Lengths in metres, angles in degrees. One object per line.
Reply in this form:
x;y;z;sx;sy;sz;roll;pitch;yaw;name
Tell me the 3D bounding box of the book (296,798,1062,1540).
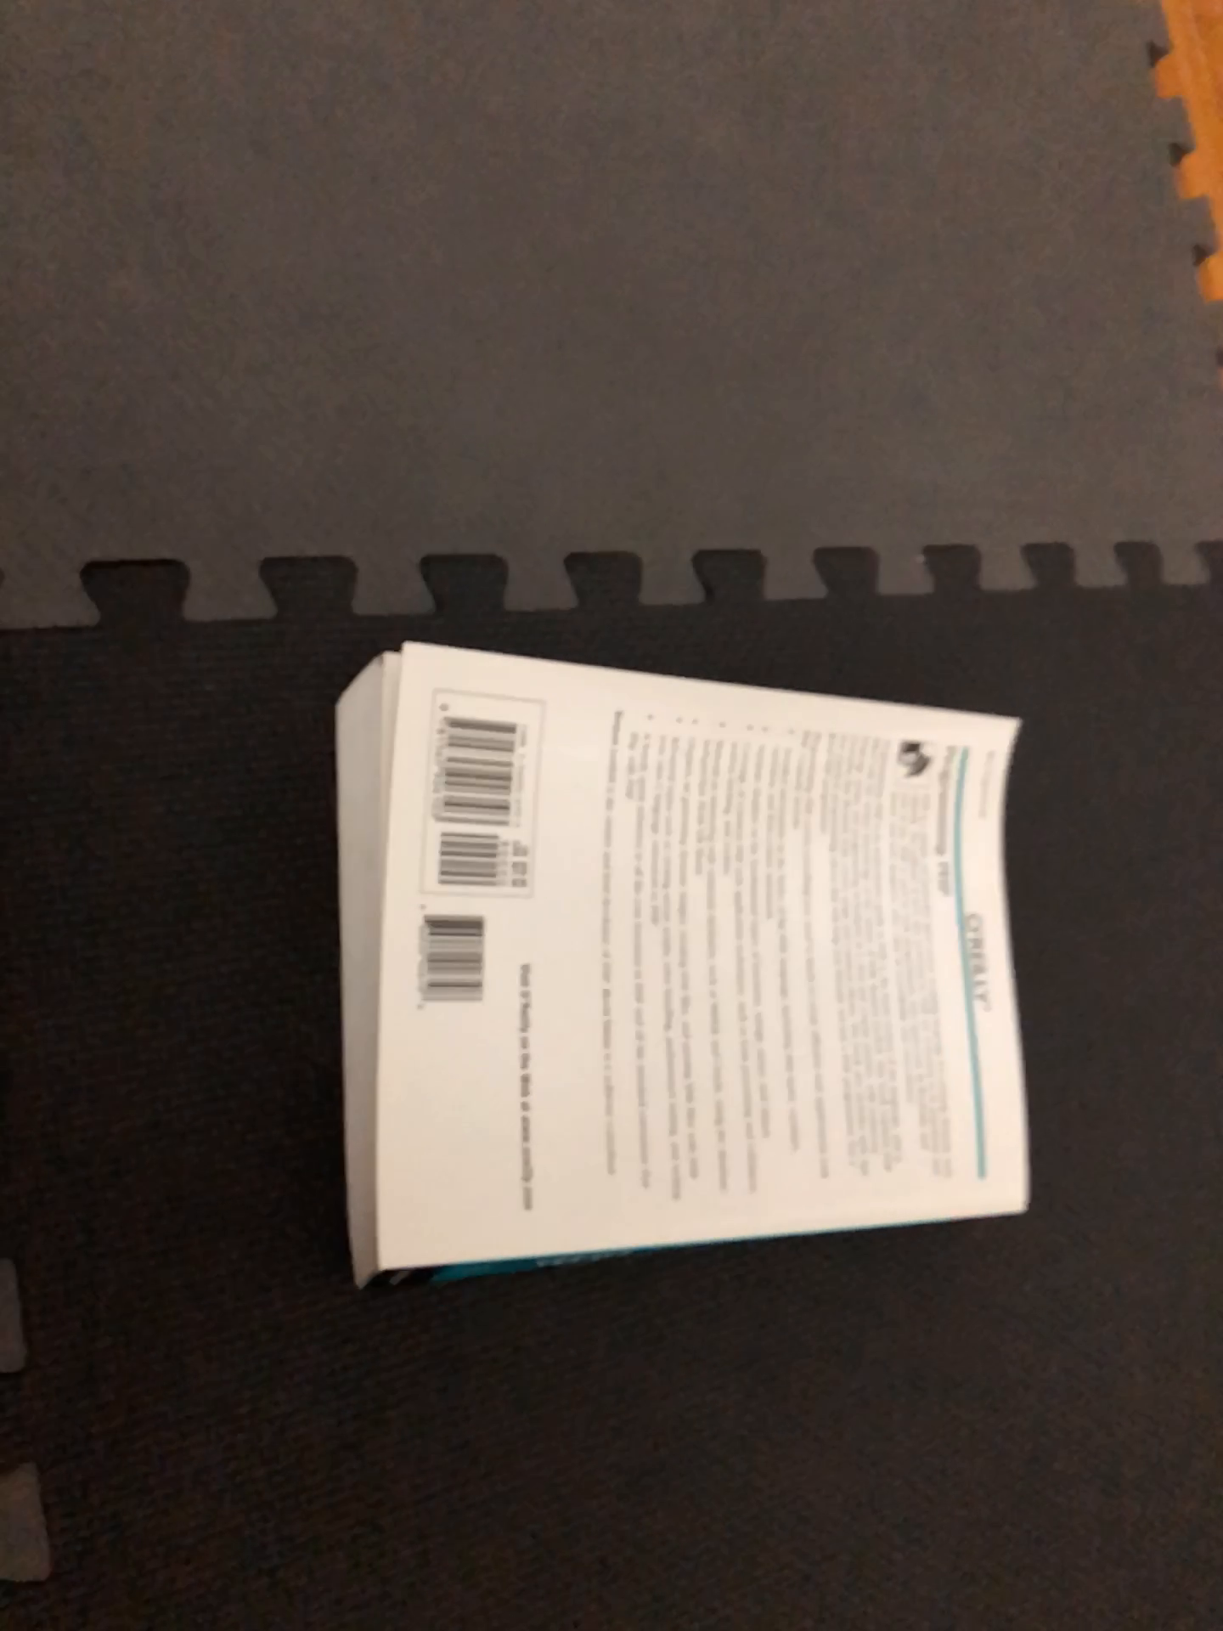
0.035;0.121;0.515;0.291;0.040;0.230;5;77;-25;book
